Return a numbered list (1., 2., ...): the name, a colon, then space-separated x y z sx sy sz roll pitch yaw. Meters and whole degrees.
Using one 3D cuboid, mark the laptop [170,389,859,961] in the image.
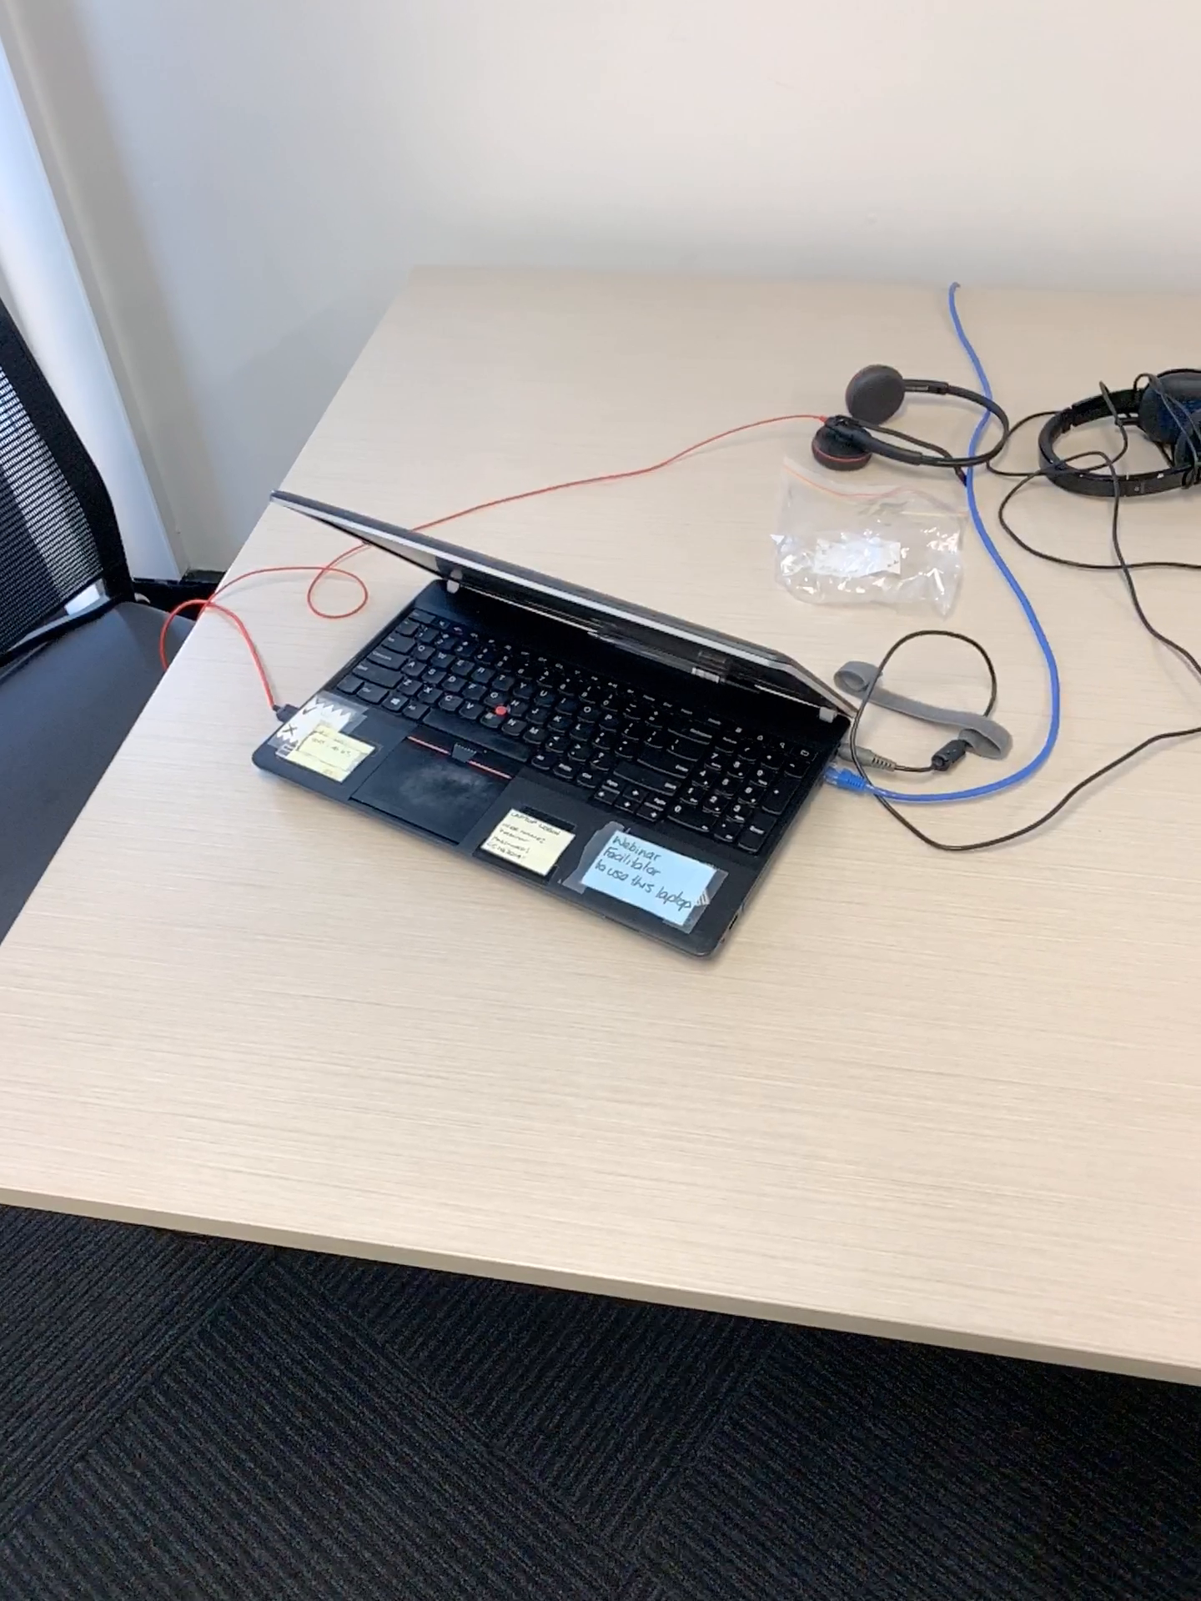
1. laptop: -0.041 -0.094 0.736 0.326 0.157 0.227 21 48 22
